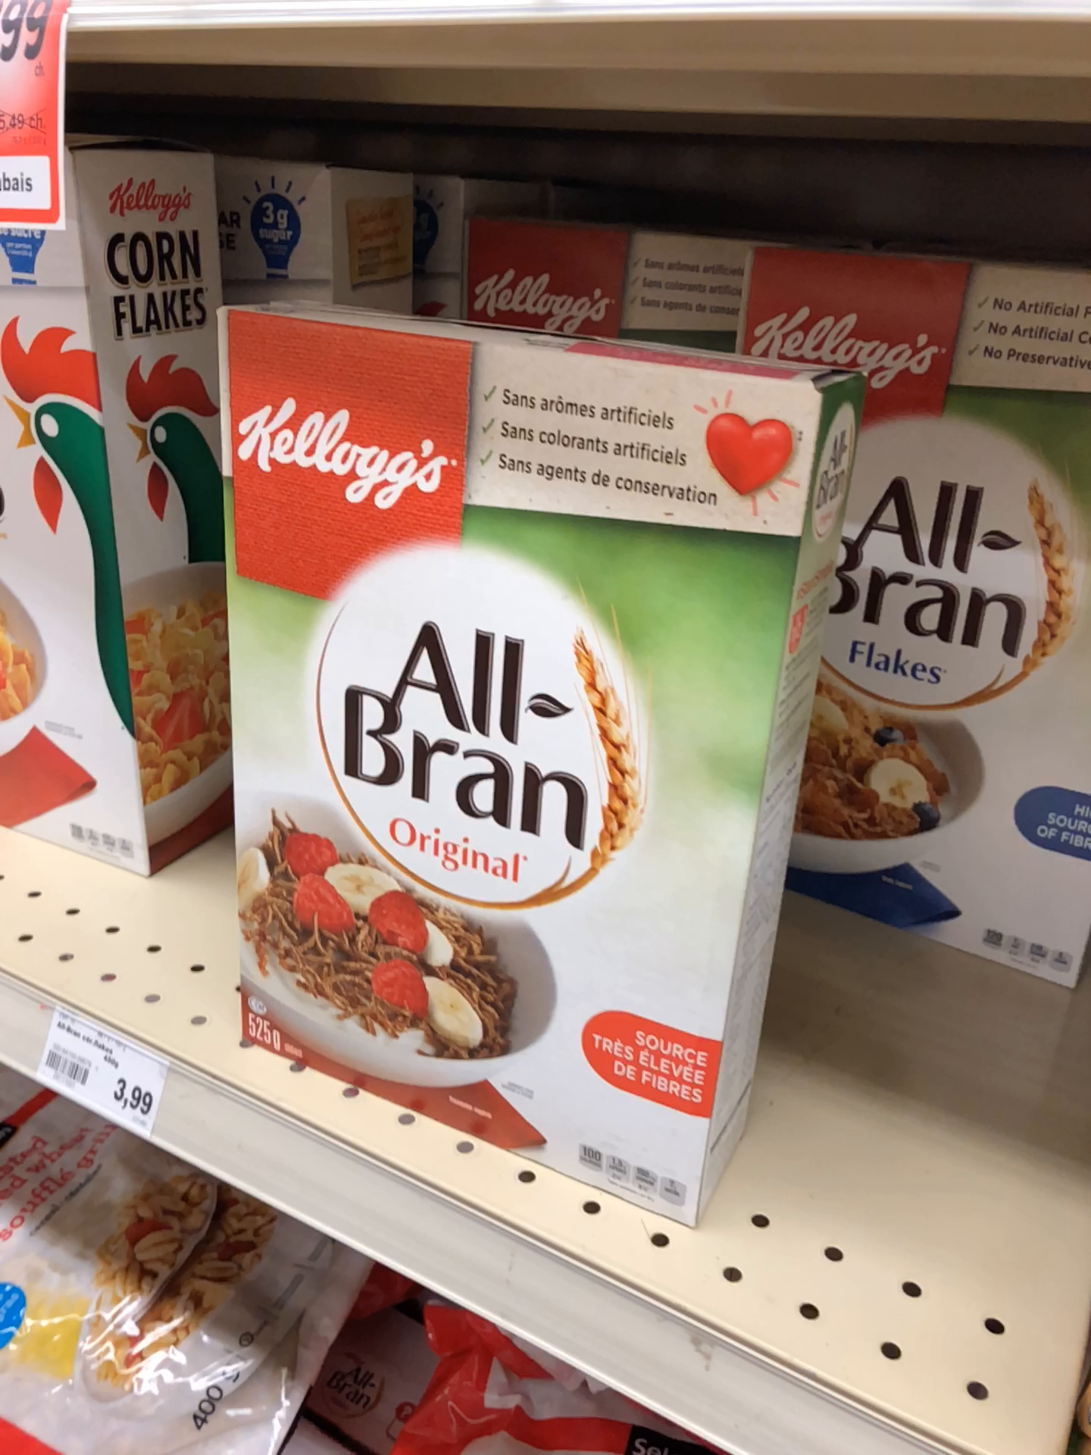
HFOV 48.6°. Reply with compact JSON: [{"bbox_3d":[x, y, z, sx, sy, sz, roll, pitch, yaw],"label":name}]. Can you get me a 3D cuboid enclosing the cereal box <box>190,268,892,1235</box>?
[{"bbox_3d":[-0.010,0.004,0.402,0.190,0.278,0.070,14,26,23],"label":"cereal box"}]
